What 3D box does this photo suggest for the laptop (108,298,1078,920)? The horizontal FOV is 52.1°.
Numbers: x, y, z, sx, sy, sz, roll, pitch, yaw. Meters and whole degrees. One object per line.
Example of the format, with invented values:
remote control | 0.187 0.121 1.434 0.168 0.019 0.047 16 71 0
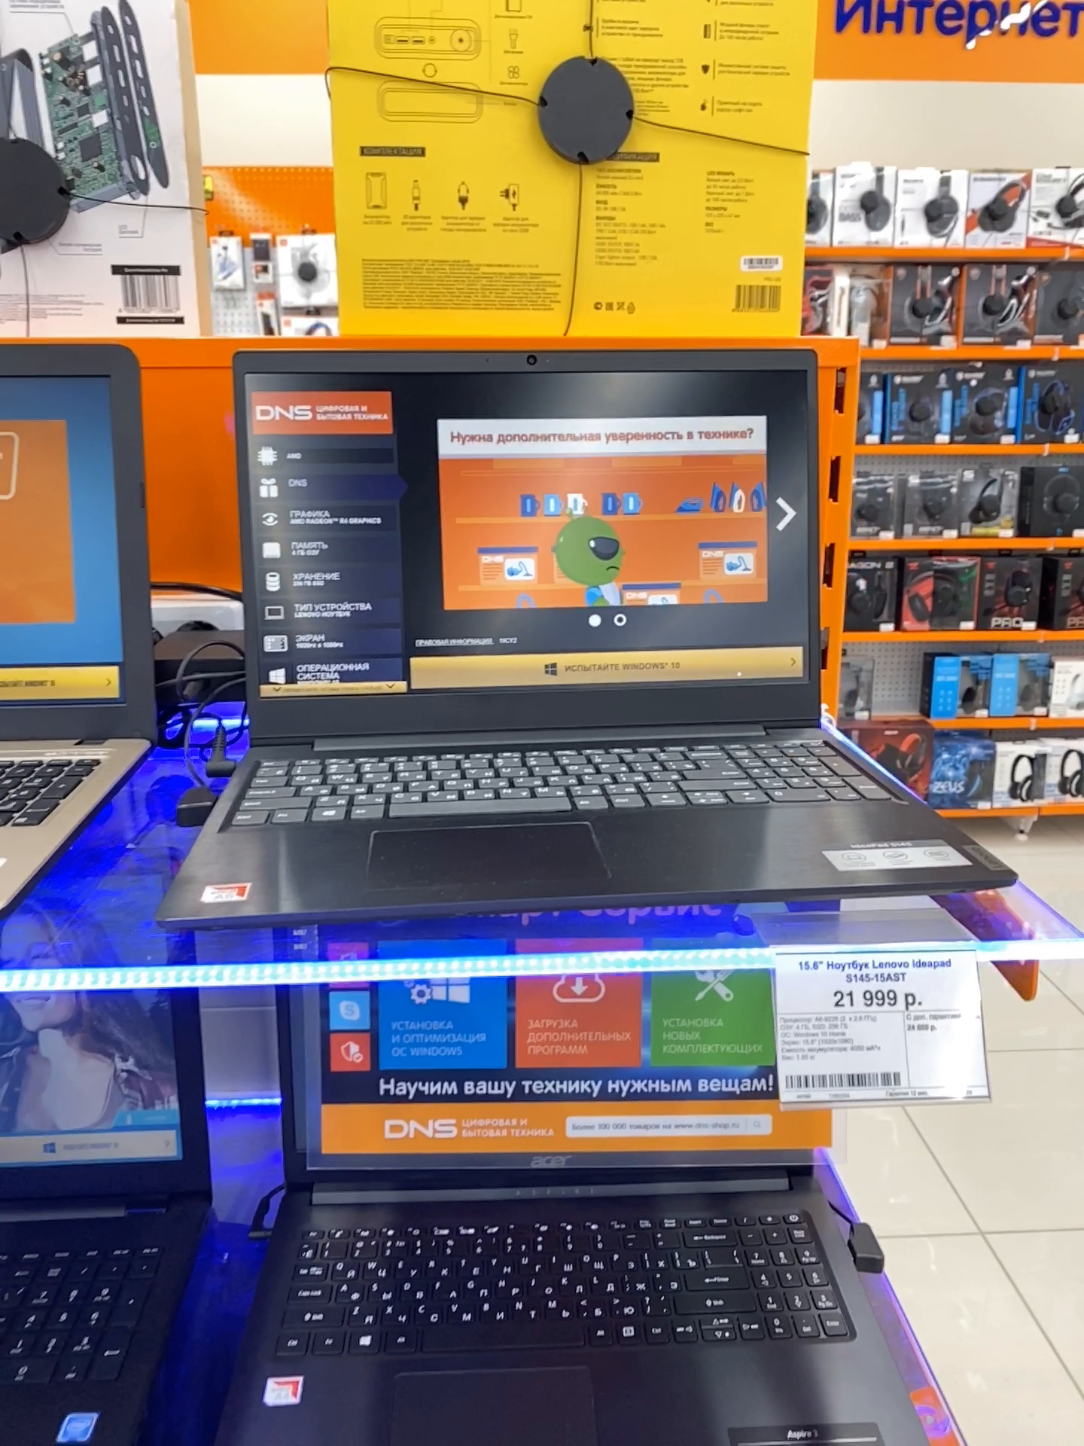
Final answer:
laptop | 0.011 -0.078 0.577 0.358 0.233 0.298 -2 14 -5
